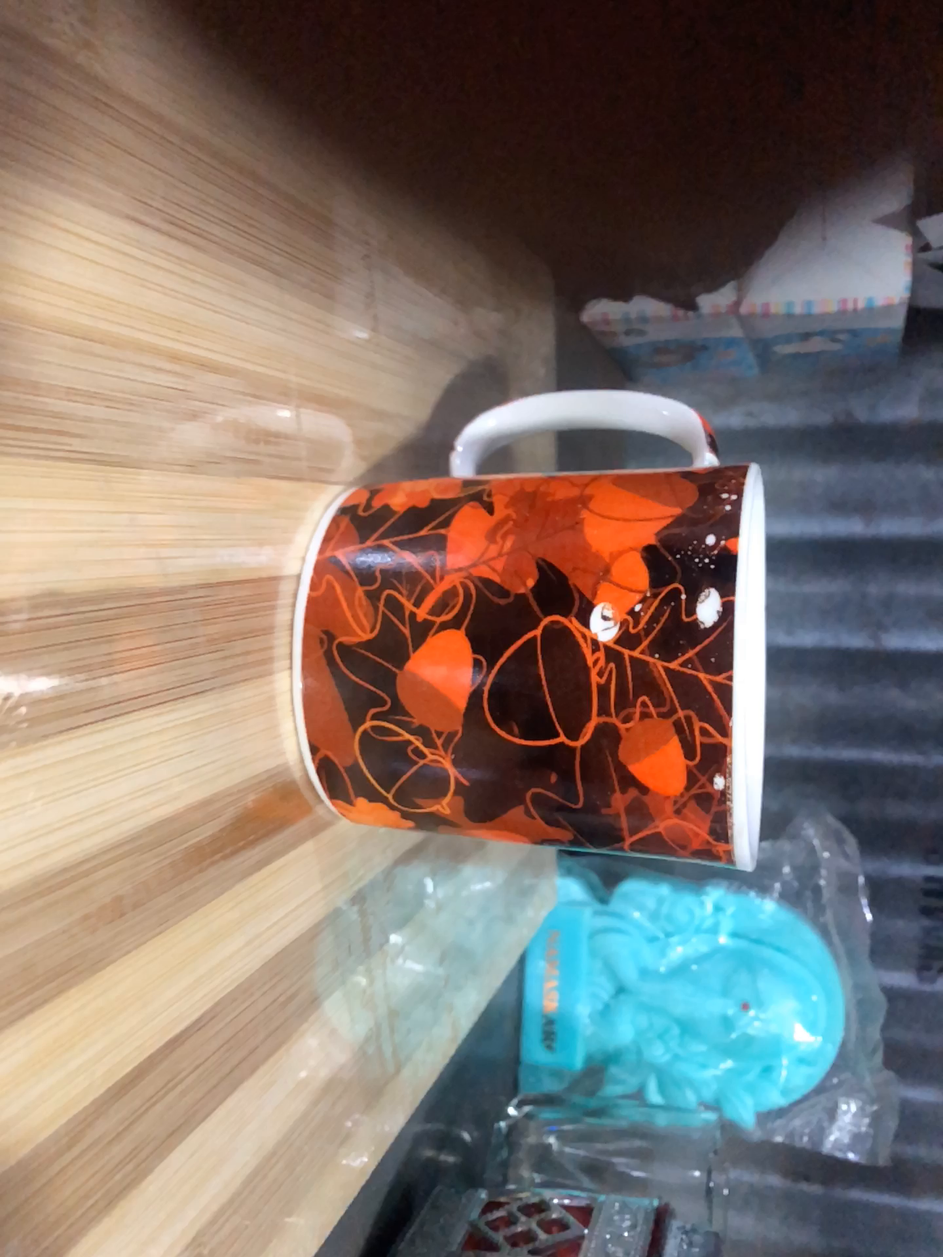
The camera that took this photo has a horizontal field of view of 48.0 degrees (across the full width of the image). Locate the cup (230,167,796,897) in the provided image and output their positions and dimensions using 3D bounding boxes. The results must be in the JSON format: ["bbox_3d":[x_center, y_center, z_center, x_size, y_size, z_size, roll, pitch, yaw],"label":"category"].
[{"bbox_3d":[0.020,-0.016,0.209,0.080,0.080,0.110,65,31,-57],"label":"cup"}]
